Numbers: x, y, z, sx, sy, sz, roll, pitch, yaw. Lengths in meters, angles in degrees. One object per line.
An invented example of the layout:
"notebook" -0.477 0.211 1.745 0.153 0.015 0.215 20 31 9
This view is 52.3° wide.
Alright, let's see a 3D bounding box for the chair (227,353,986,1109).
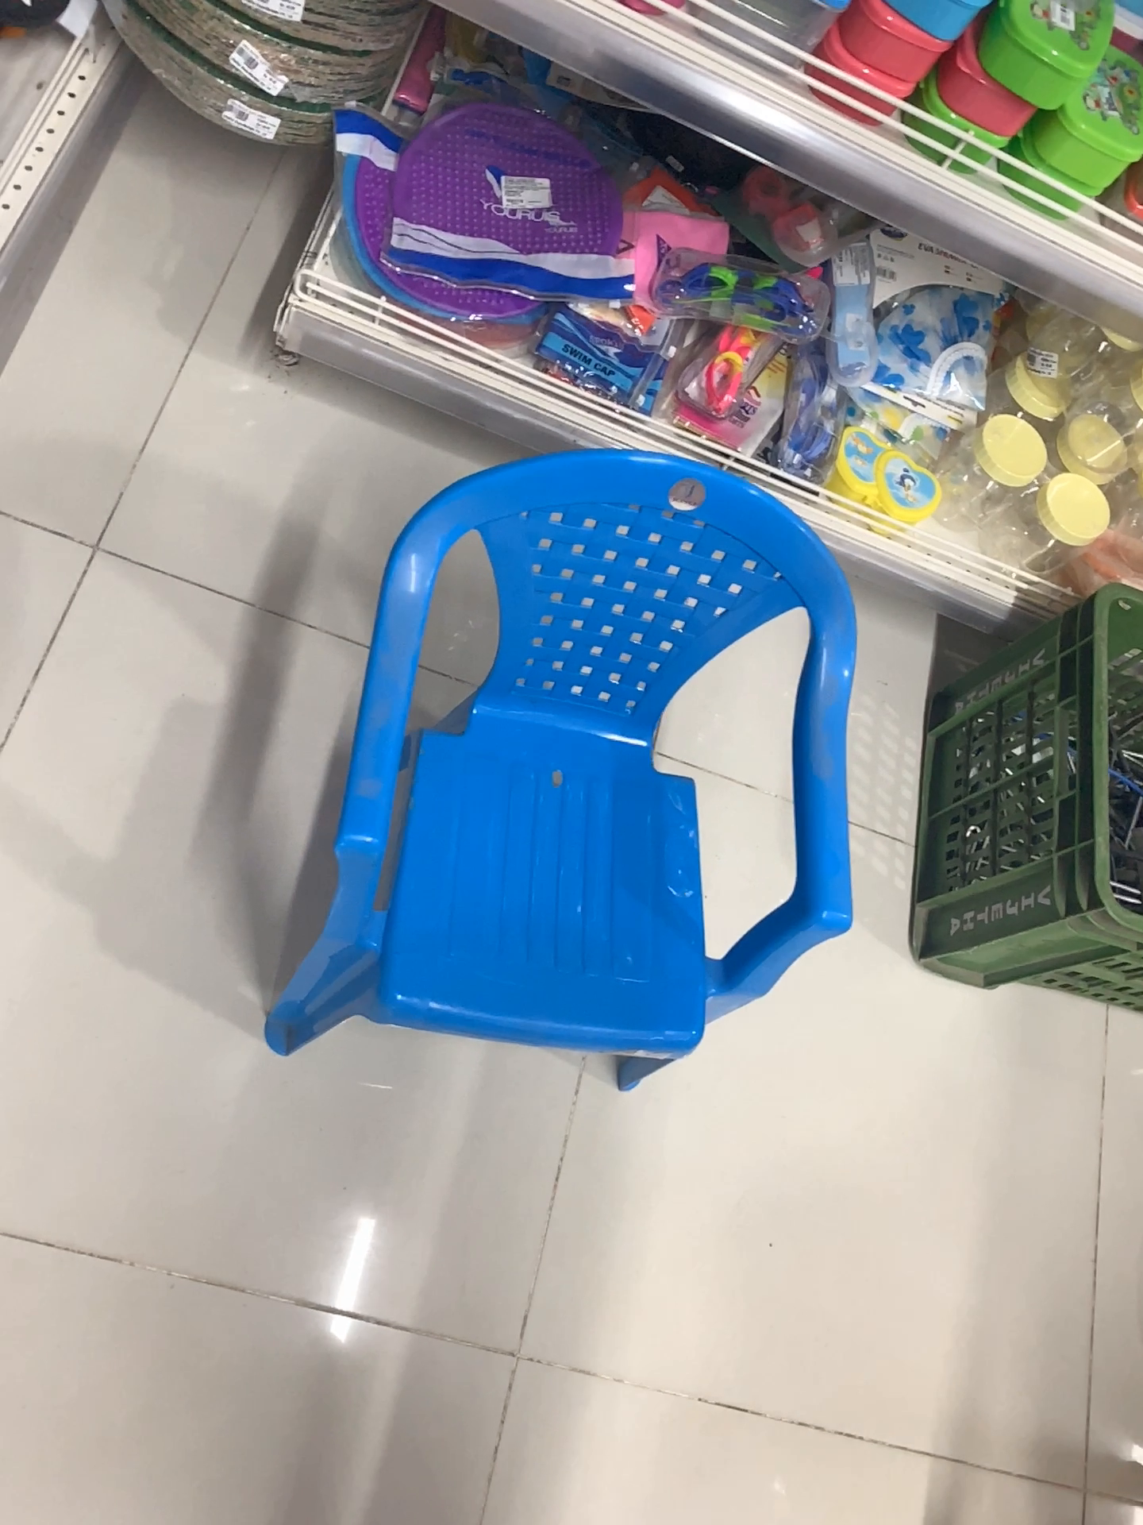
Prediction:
"chair" -0.016 0.045 0.902 0.400 0.509 0.360 12 68 -15
